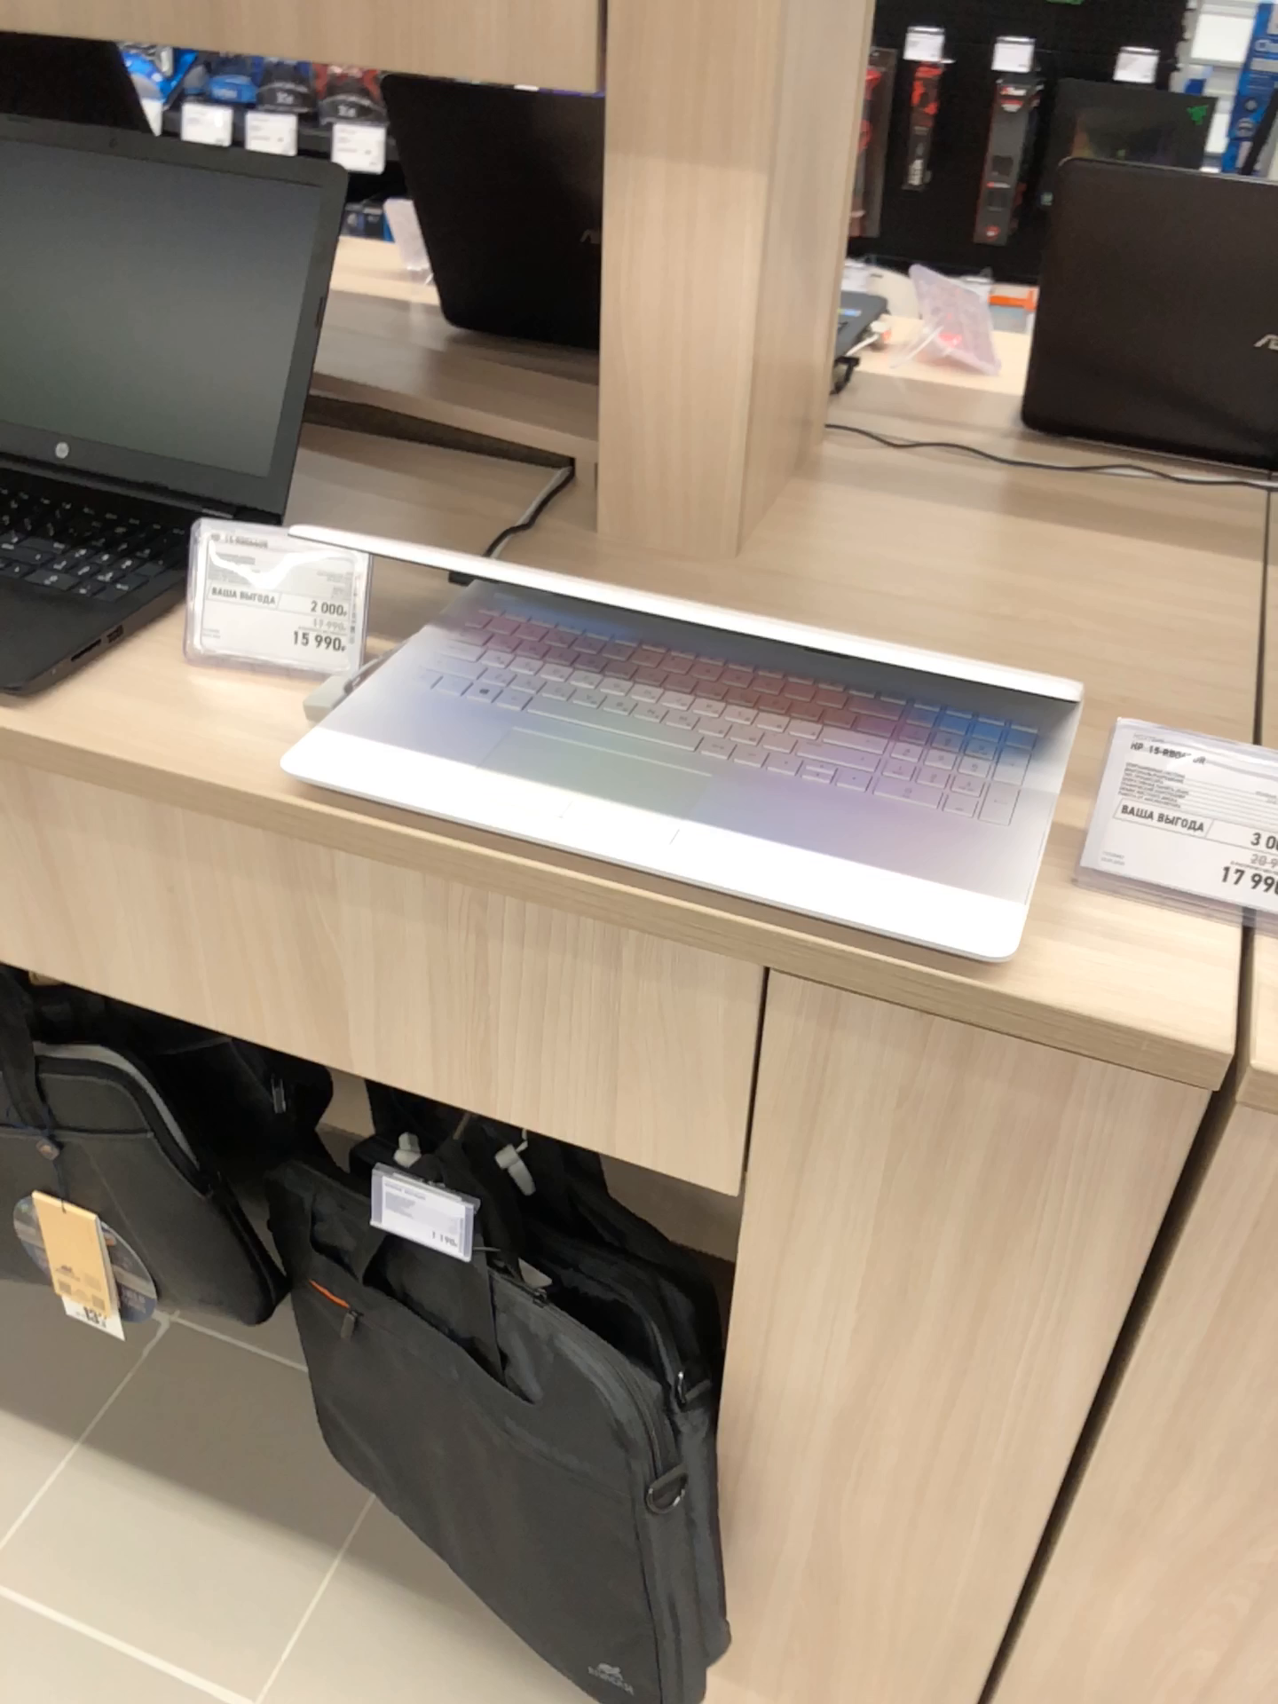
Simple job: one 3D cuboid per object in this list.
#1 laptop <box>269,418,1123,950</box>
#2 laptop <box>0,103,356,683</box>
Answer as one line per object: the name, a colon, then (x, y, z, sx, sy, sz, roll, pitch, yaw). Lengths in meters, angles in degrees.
laptop: (0.037, -0.108, 0.736, 0.368, 0.103, 0.233, 14, 40, 16)
laptop: (-0.450, -0.329, 0.920, 0.386, 0.203, 0.369, 15, 38, 16)
